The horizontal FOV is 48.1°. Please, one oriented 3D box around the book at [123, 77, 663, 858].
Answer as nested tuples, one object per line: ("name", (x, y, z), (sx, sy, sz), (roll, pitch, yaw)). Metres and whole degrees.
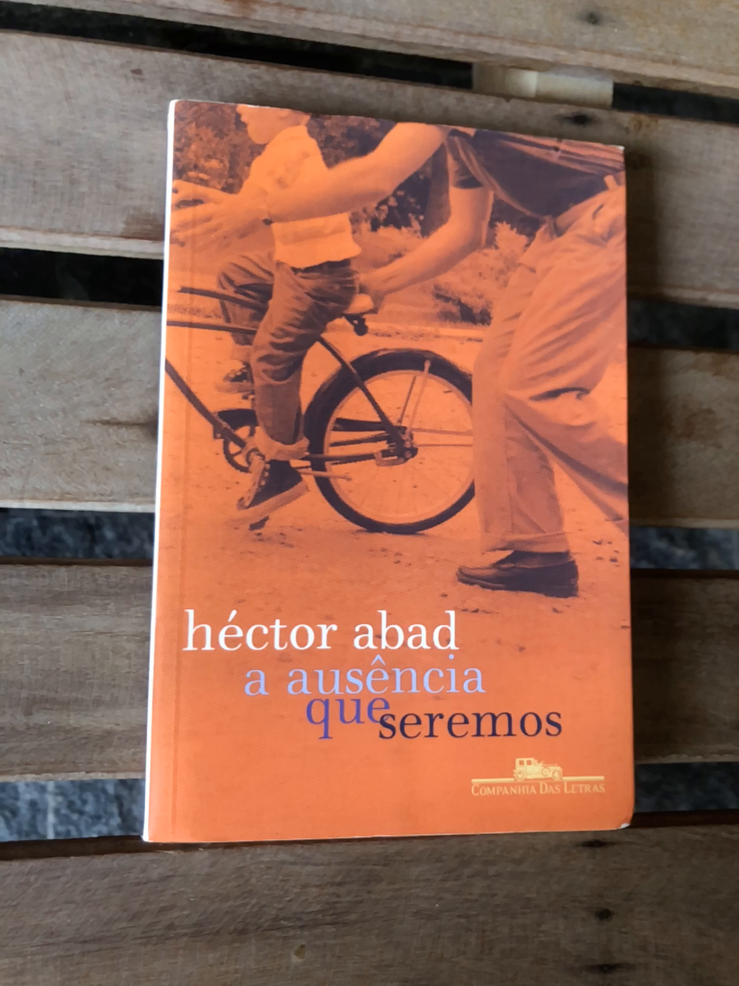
("book", (0.010, -0.007, 0.233), (0.143, 0.020, 0.200), (2, 85, -9))
